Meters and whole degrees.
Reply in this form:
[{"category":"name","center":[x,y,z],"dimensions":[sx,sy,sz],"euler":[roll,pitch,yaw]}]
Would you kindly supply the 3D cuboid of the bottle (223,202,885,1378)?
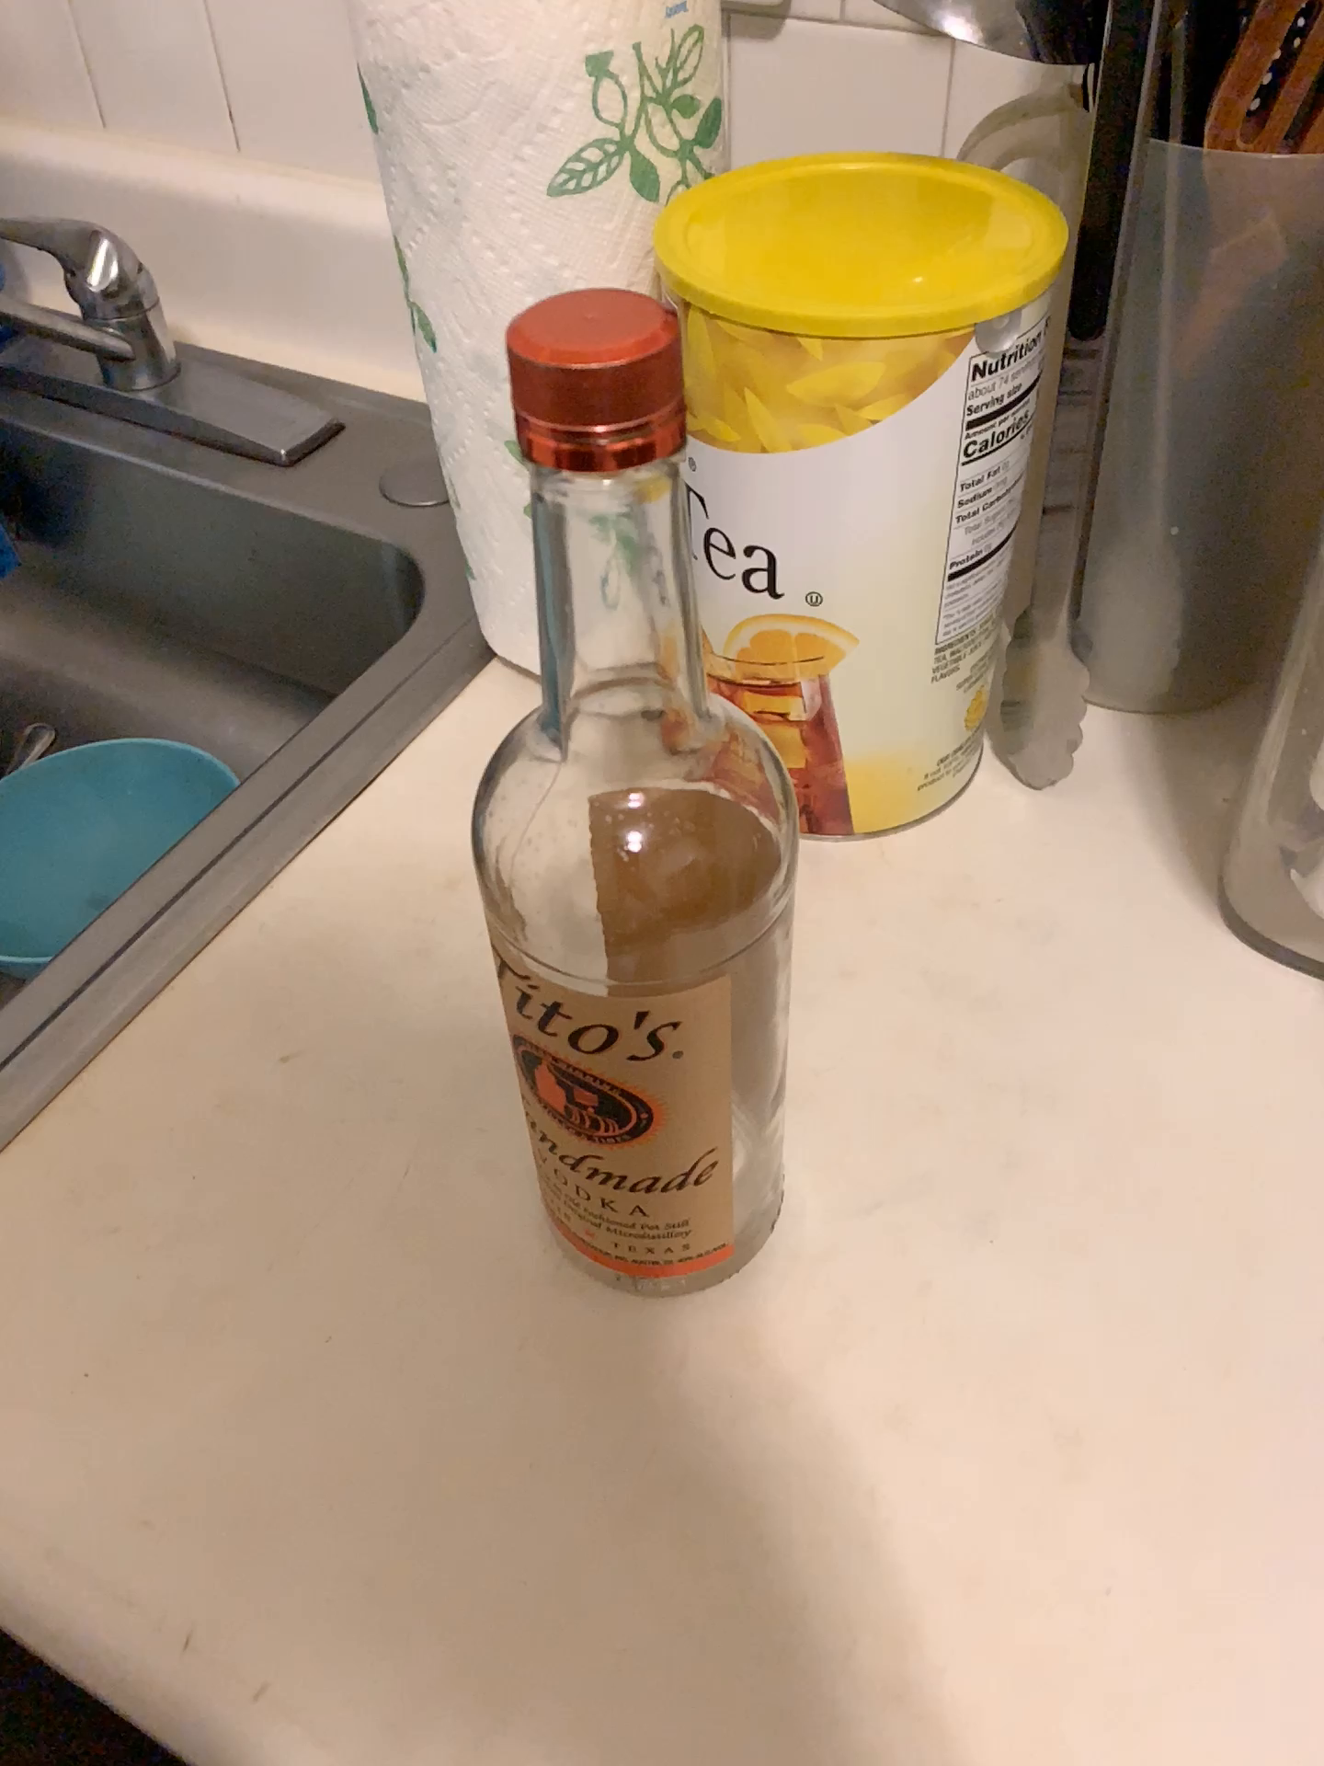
[{"category":"bottle","center":[-0.013,0.005,0.336],"dimensions":[0.080,0.288,0.080],"euler":[-1,46,1]}]
